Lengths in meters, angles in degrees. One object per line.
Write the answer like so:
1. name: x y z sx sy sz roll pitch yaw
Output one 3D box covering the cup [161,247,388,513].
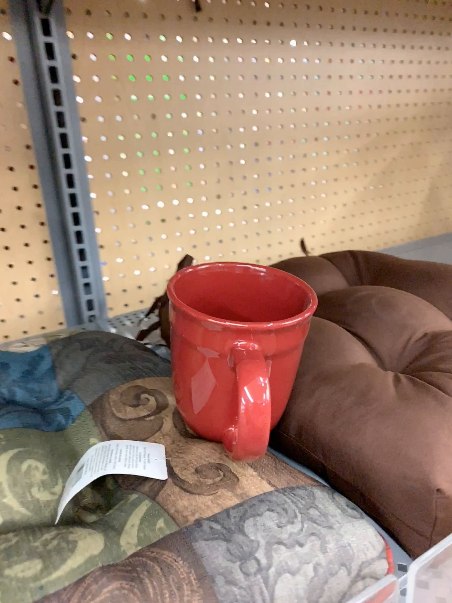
1. cup: 0.012 0.036 0.293 0.100 0.090 0.151 2 25 -8
